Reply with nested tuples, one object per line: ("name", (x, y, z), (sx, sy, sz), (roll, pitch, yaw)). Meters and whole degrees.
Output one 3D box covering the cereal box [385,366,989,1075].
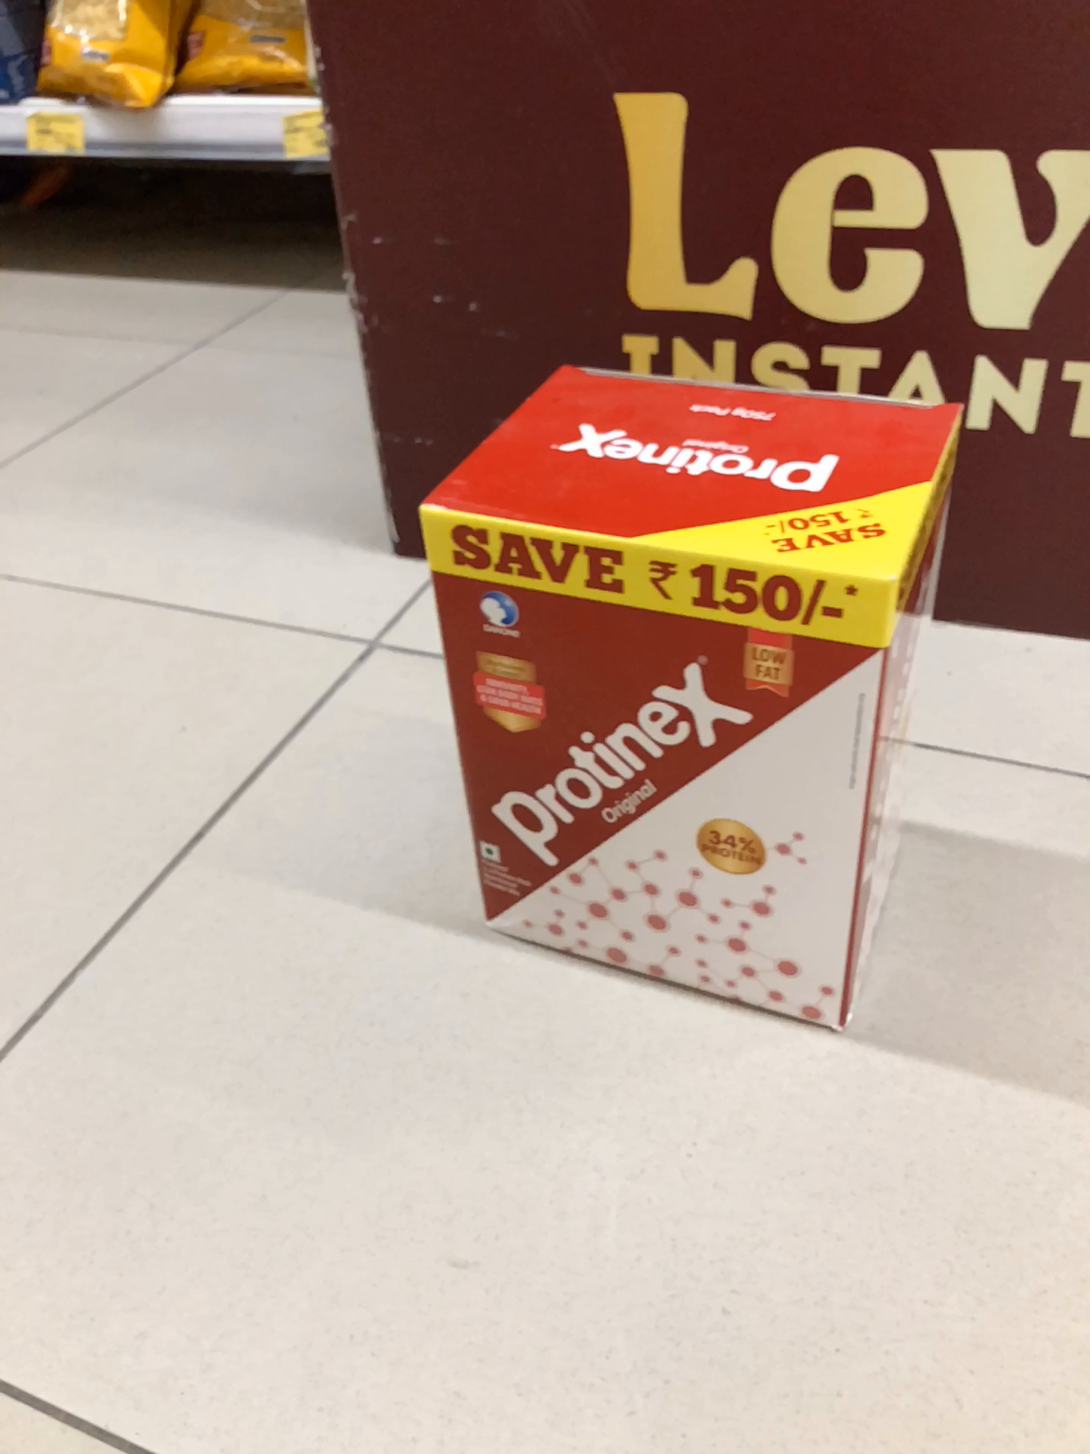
("cereal box", (0.055, -0.006, 0.444), (0.160, 0.199, 0.121), (12, 40, 21))
